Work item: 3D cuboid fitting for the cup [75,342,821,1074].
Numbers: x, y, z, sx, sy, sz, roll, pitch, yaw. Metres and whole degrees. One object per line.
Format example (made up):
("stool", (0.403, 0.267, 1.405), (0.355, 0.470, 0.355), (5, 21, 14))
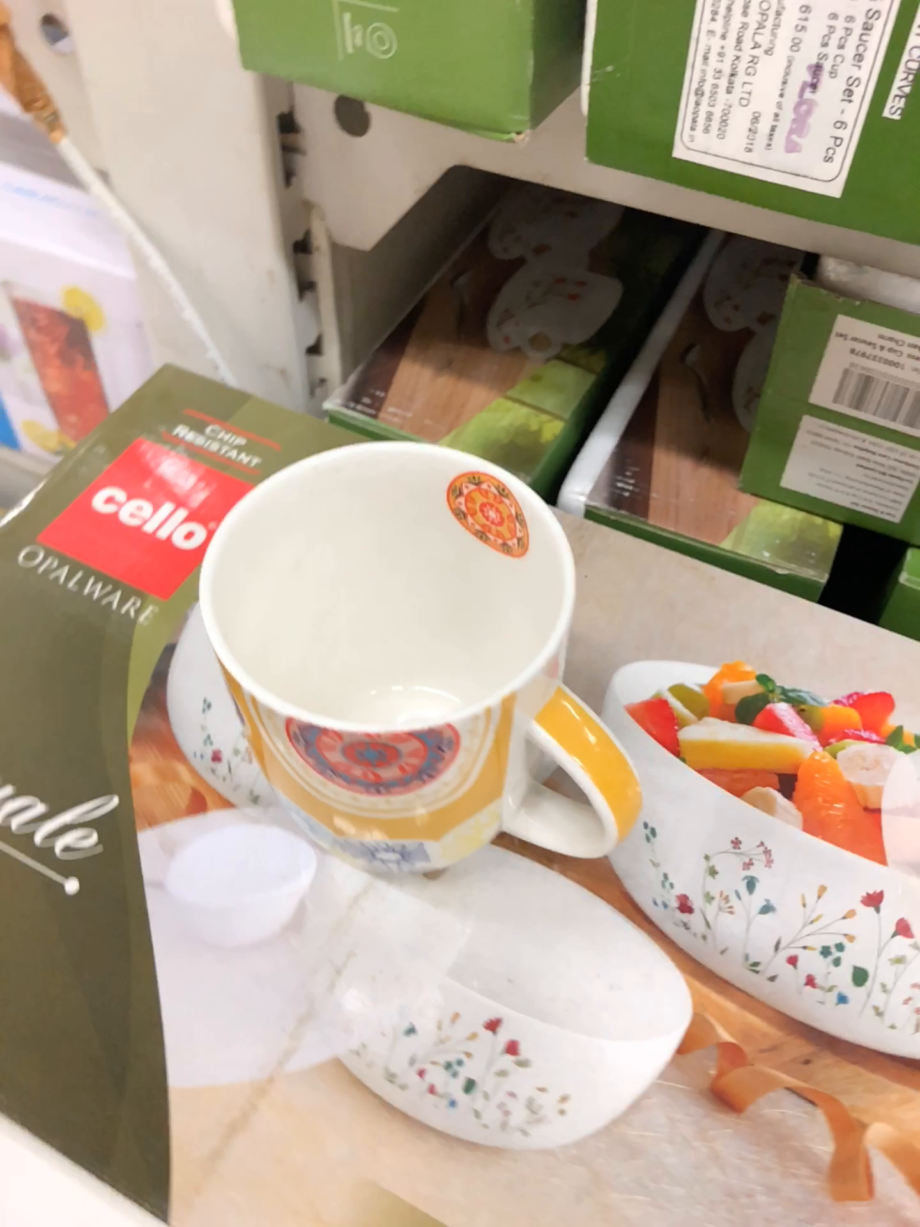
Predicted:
("cup", (-0.003, 0.018, 0.241), (0.120, 0.090, 0.090), (32, 57, 23))
